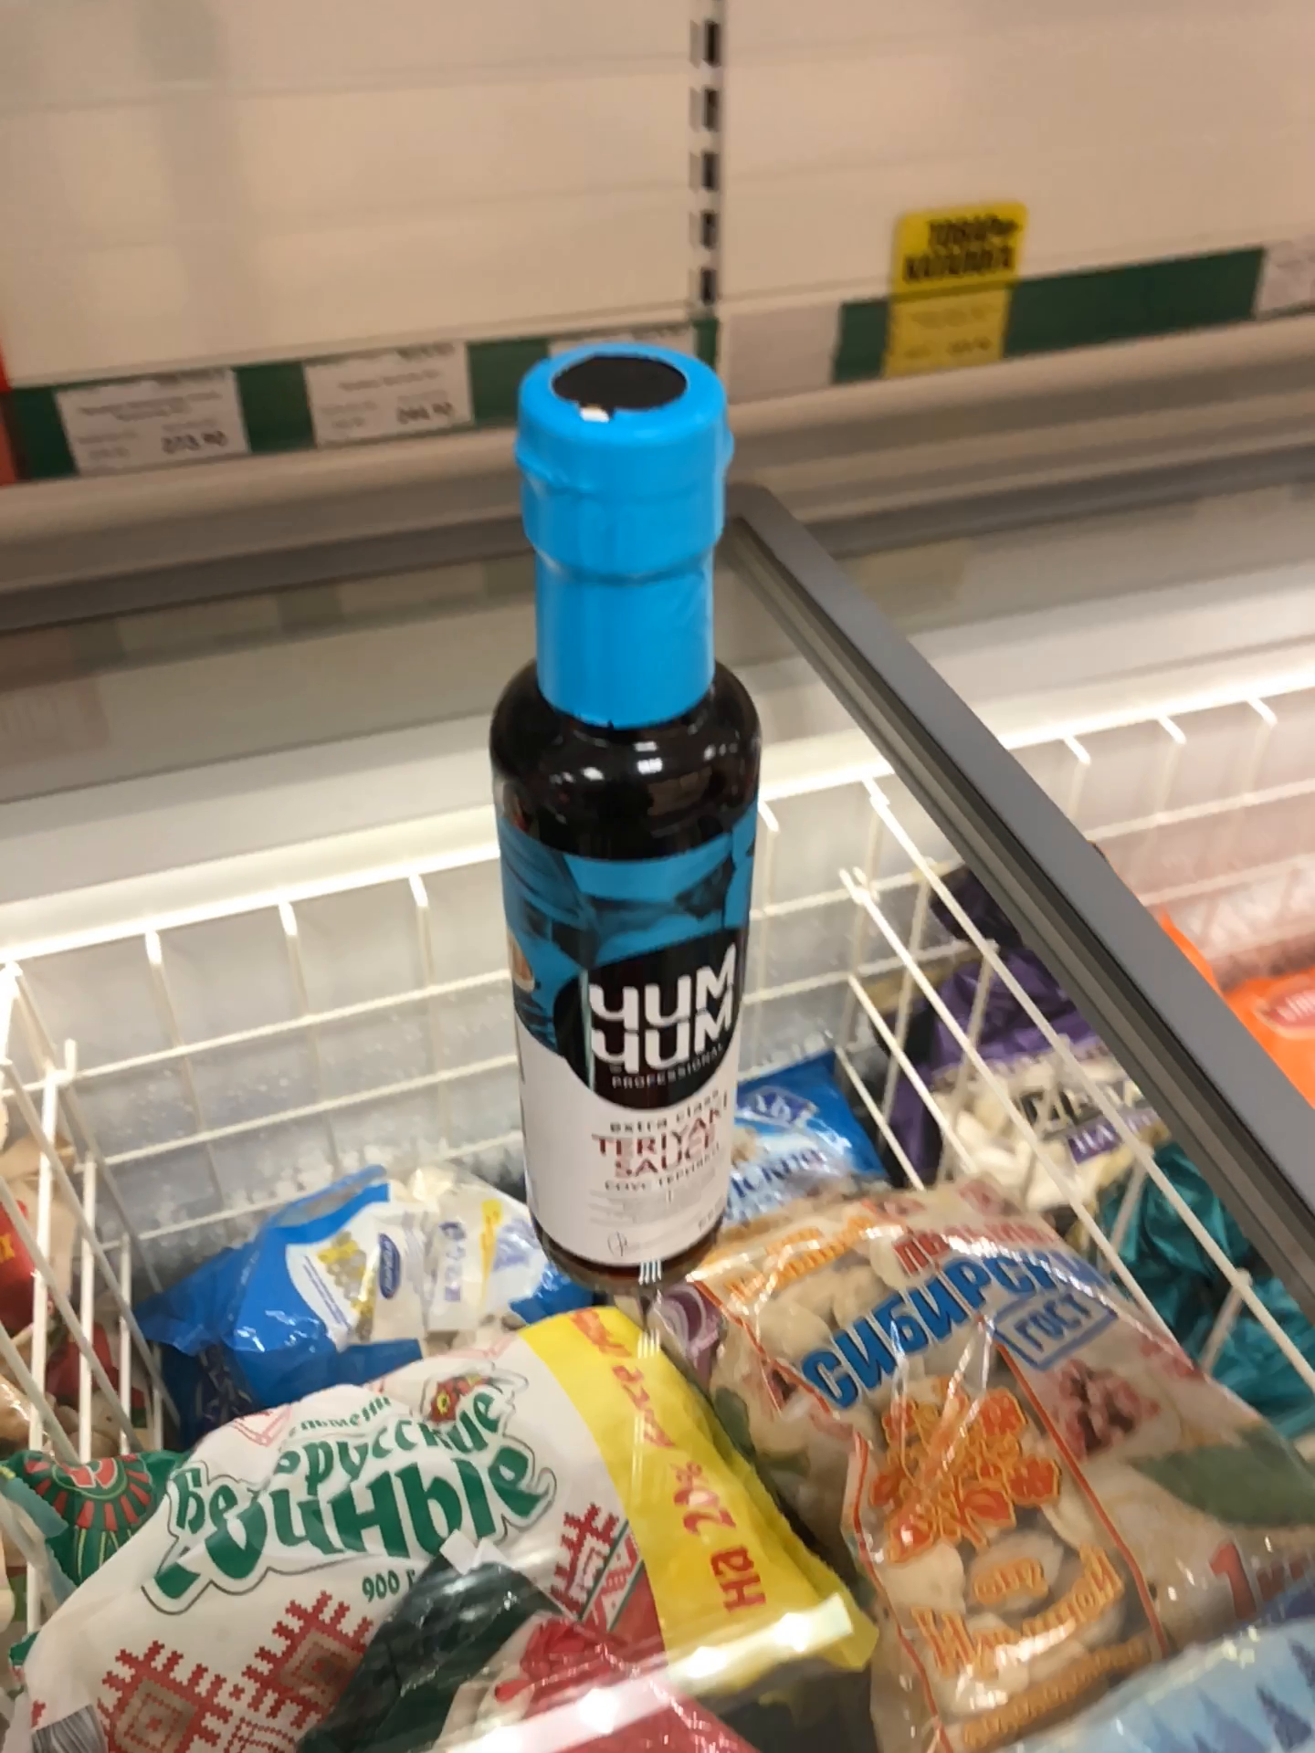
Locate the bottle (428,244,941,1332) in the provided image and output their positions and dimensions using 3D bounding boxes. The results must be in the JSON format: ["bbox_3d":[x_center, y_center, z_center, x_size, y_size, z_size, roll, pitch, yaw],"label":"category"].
[{"bbox_3d":[0.000,-0.002,0.294,0.060,0.219,0.060,1,41,-1],"label":"bottle"}]
